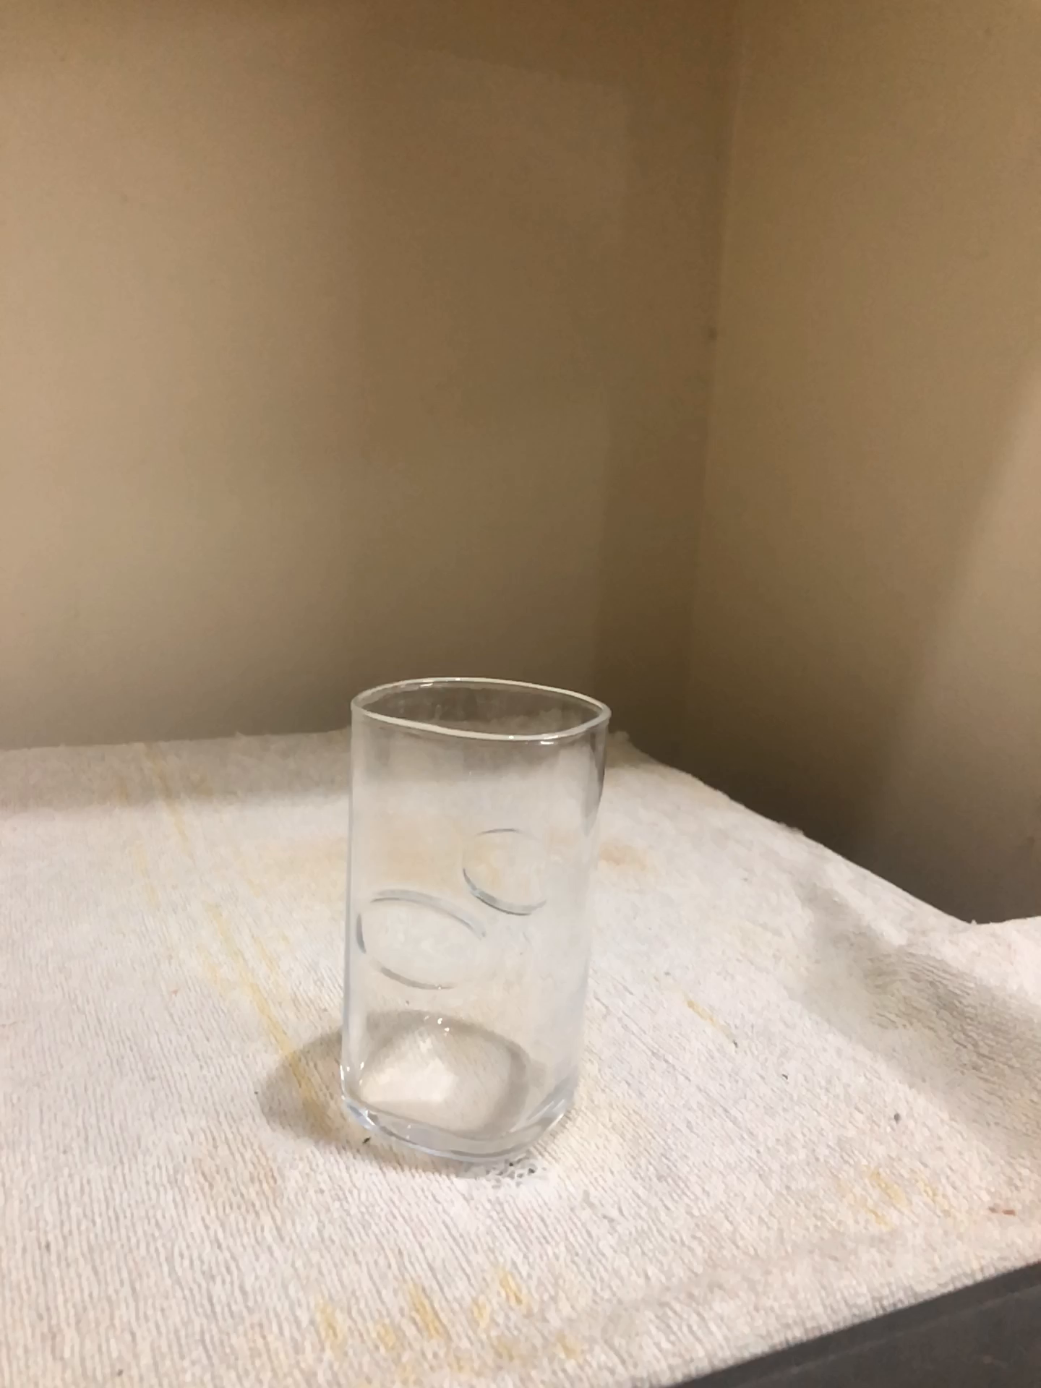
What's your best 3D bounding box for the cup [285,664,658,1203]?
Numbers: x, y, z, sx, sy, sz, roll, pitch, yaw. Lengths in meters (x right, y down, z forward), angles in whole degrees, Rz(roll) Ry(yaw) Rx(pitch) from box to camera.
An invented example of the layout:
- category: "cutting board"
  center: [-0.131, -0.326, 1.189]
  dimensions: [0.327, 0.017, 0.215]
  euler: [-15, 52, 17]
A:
- category: "cup"
  center: [-0.011, 0.055, 0.304]
  dimensions: [0.070, 0.110, 0.070]
  euler: [3, 11, -1]
